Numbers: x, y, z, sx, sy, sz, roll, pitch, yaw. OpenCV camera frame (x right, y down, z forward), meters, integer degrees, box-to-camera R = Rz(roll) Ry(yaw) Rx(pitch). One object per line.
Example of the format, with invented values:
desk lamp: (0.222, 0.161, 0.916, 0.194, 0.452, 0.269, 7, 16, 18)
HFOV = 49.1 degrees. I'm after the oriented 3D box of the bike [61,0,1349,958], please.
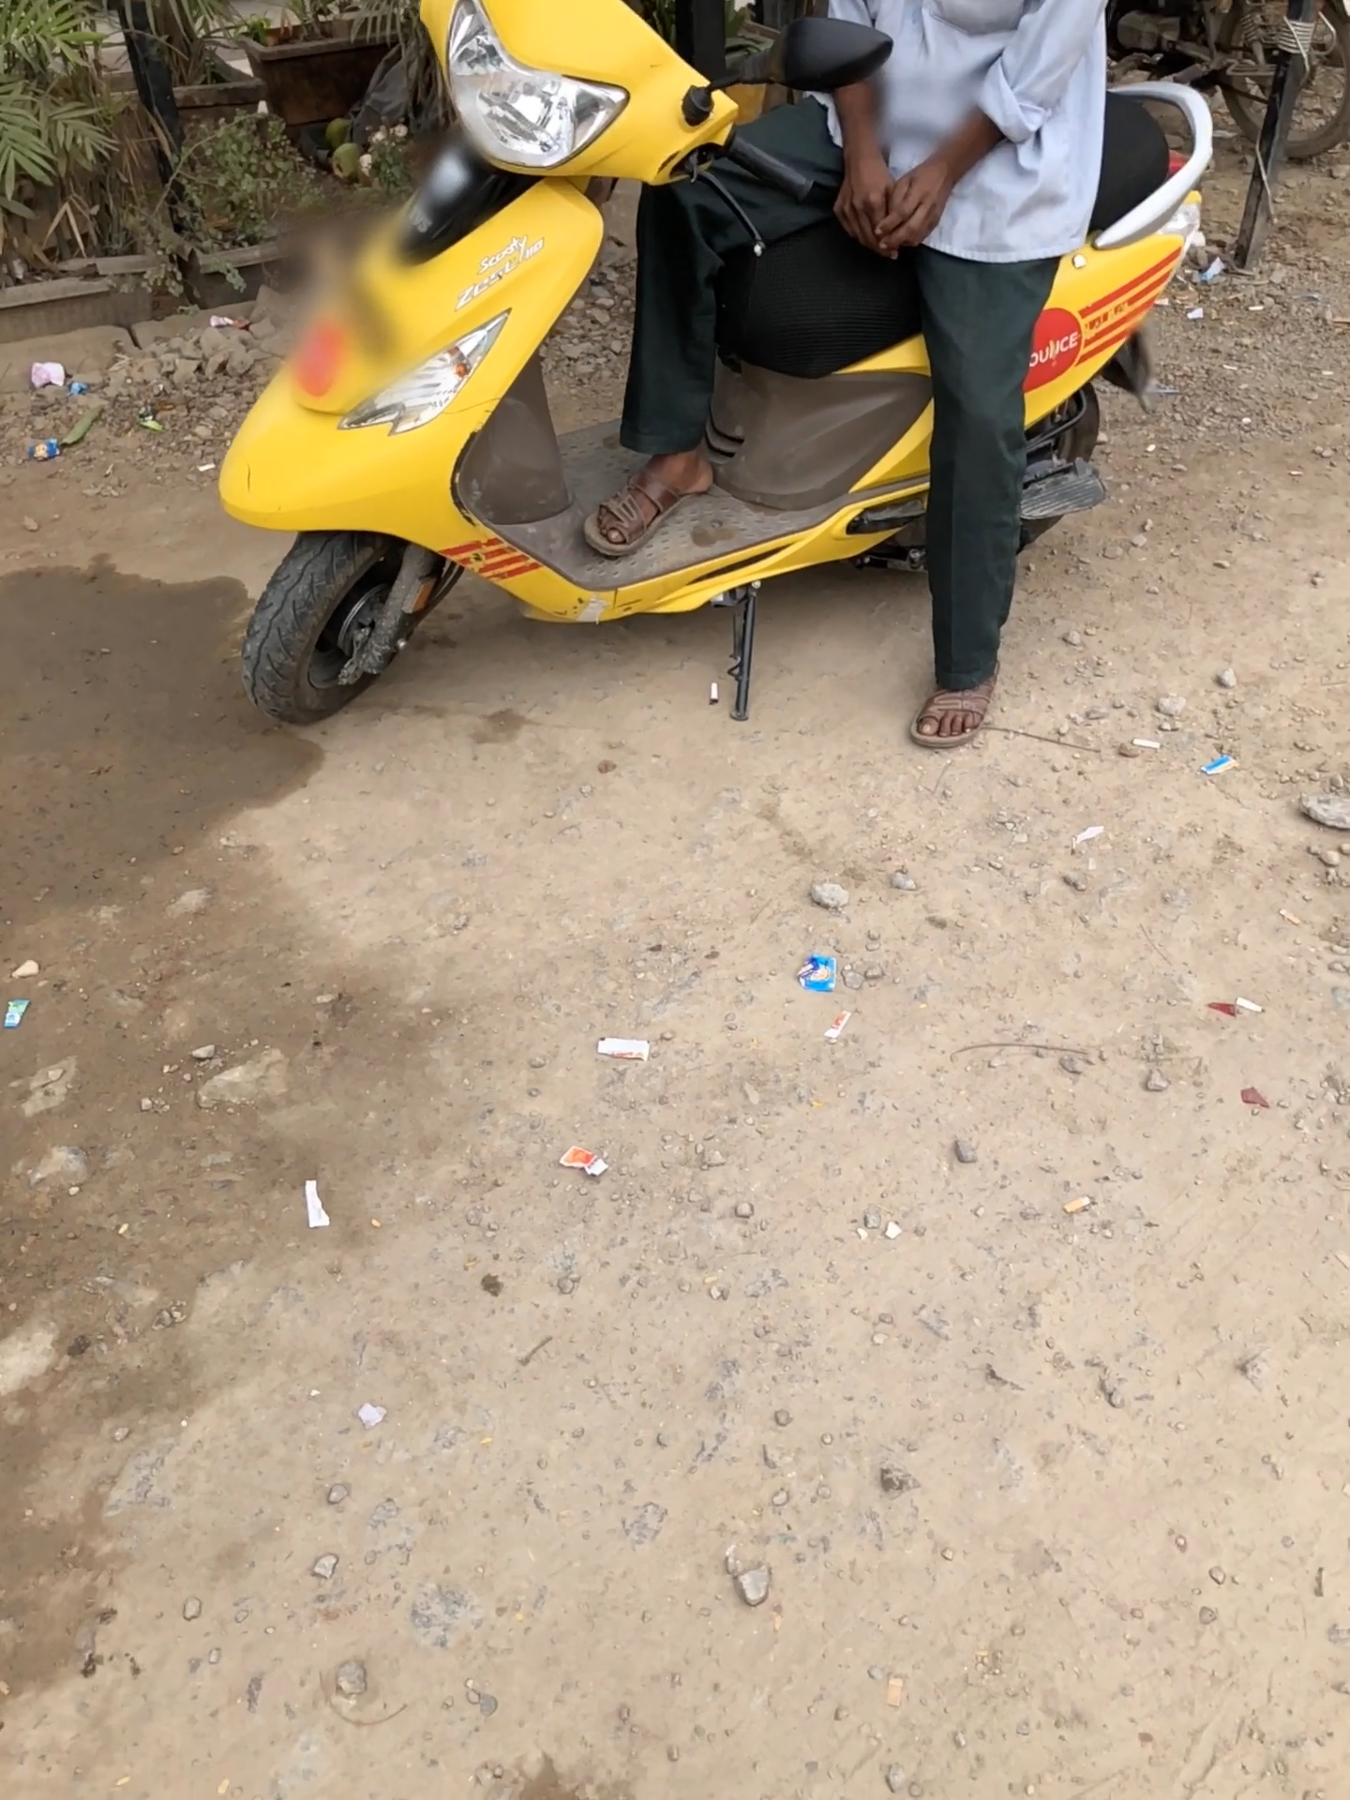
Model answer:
bike: (0.069, -0.878, 2.442, 1.657, 1.161, 0.892, -19, 43, -18)
